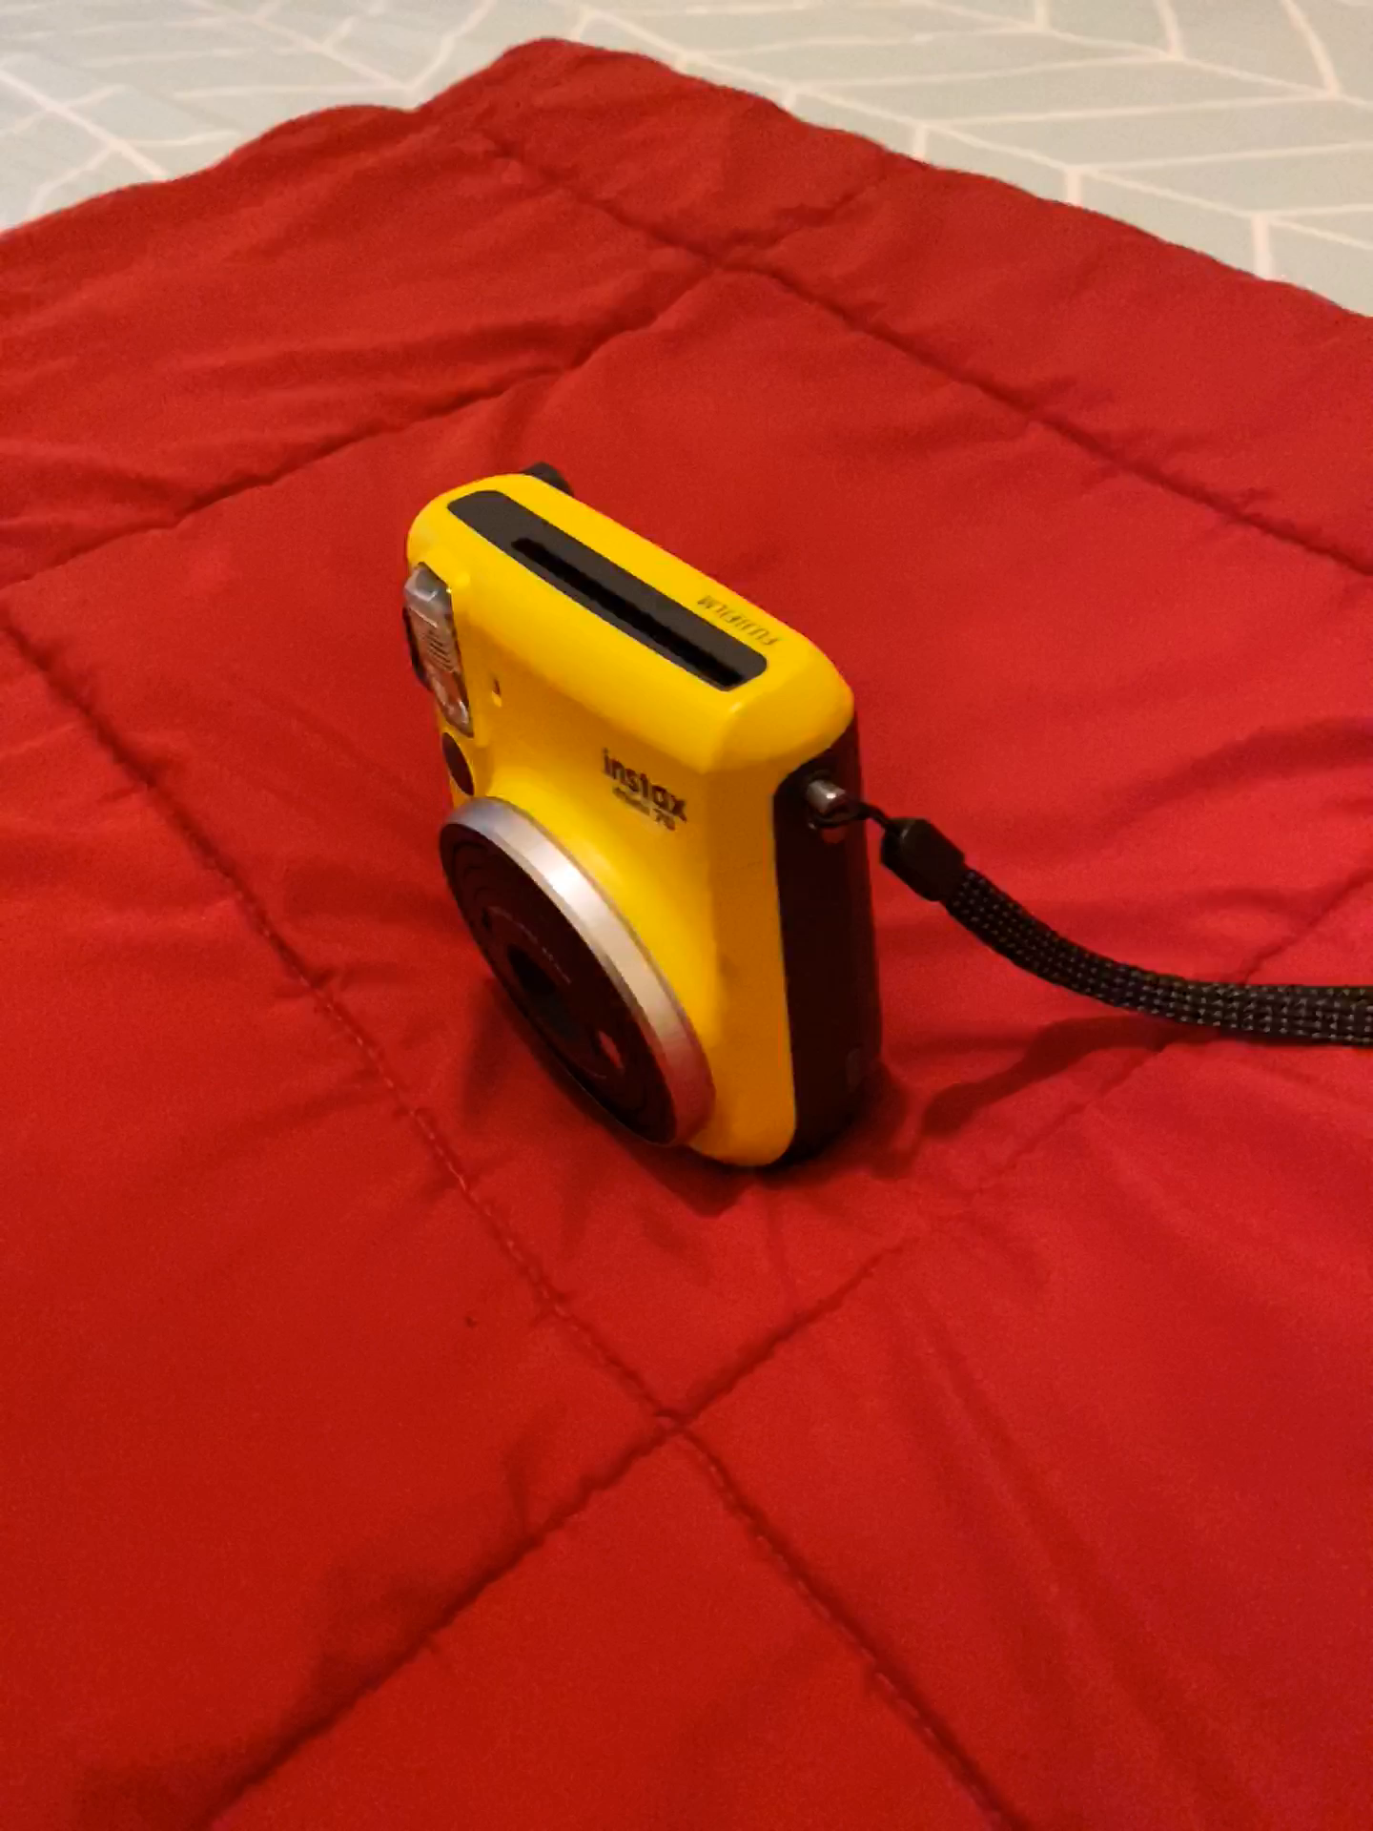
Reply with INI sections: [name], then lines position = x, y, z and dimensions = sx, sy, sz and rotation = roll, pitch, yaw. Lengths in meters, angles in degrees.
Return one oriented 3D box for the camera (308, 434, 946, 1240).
[camera]
position = -0.008, -0.015, 0.262
dimensions = 0.057, 0.103, 0.095
rotation = -33, 50, -22
